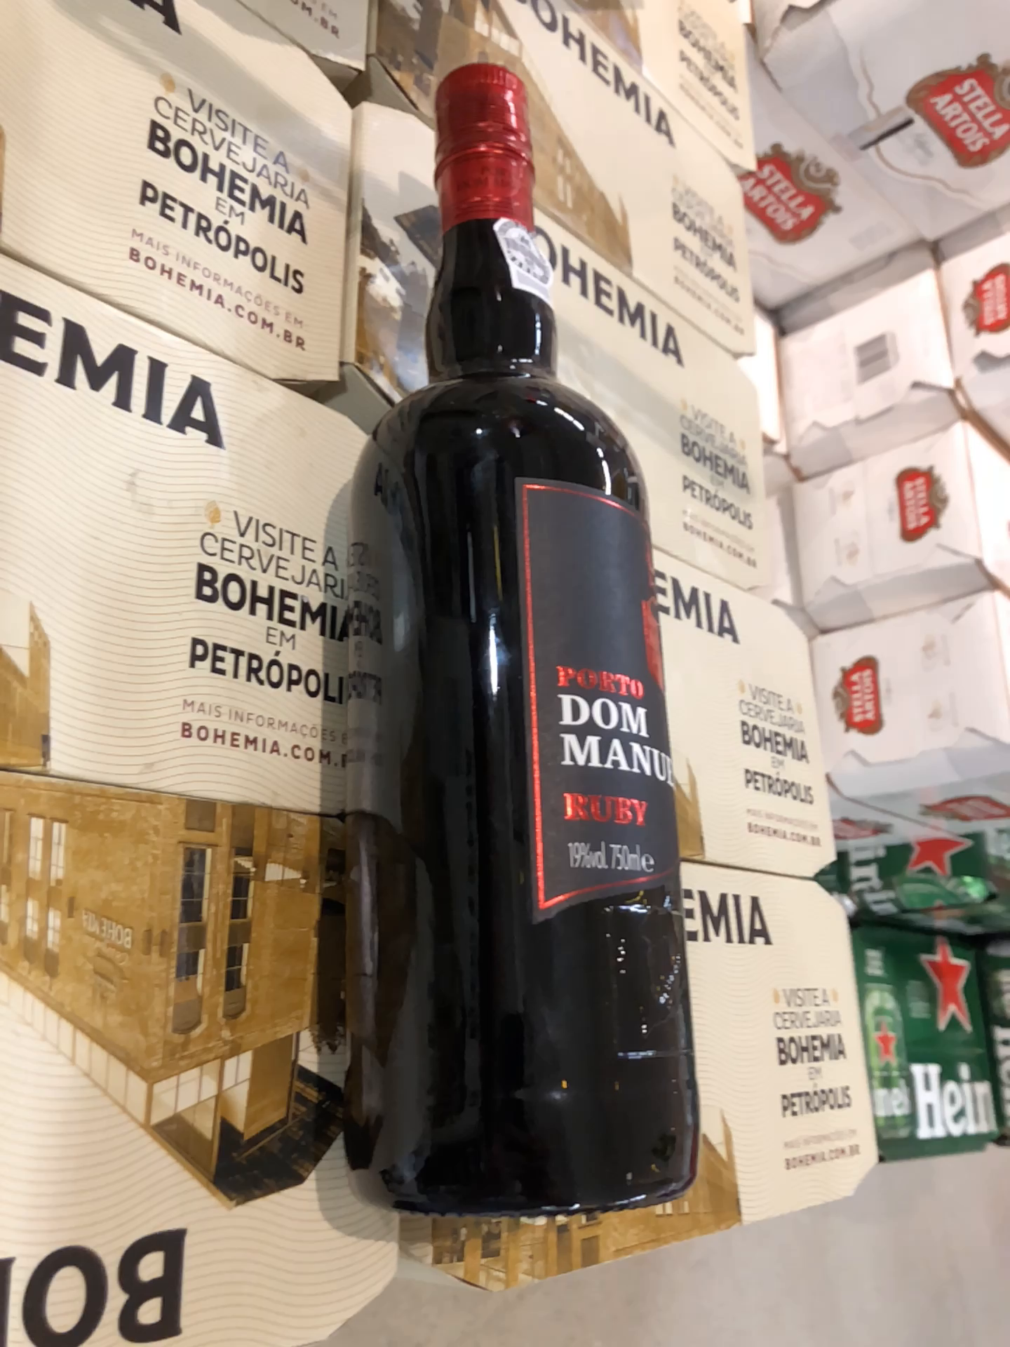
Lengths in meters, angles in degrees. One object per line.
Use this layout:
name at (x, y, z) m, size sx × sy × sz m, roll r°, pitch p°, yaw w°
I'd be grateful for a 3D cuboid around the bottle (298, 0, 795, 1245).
bottle at (0.007, -0.044, 0.294) m, size 0.090 × 0.070 × 0.330 m, roll 20°, pitch 62°, yaw -51°
